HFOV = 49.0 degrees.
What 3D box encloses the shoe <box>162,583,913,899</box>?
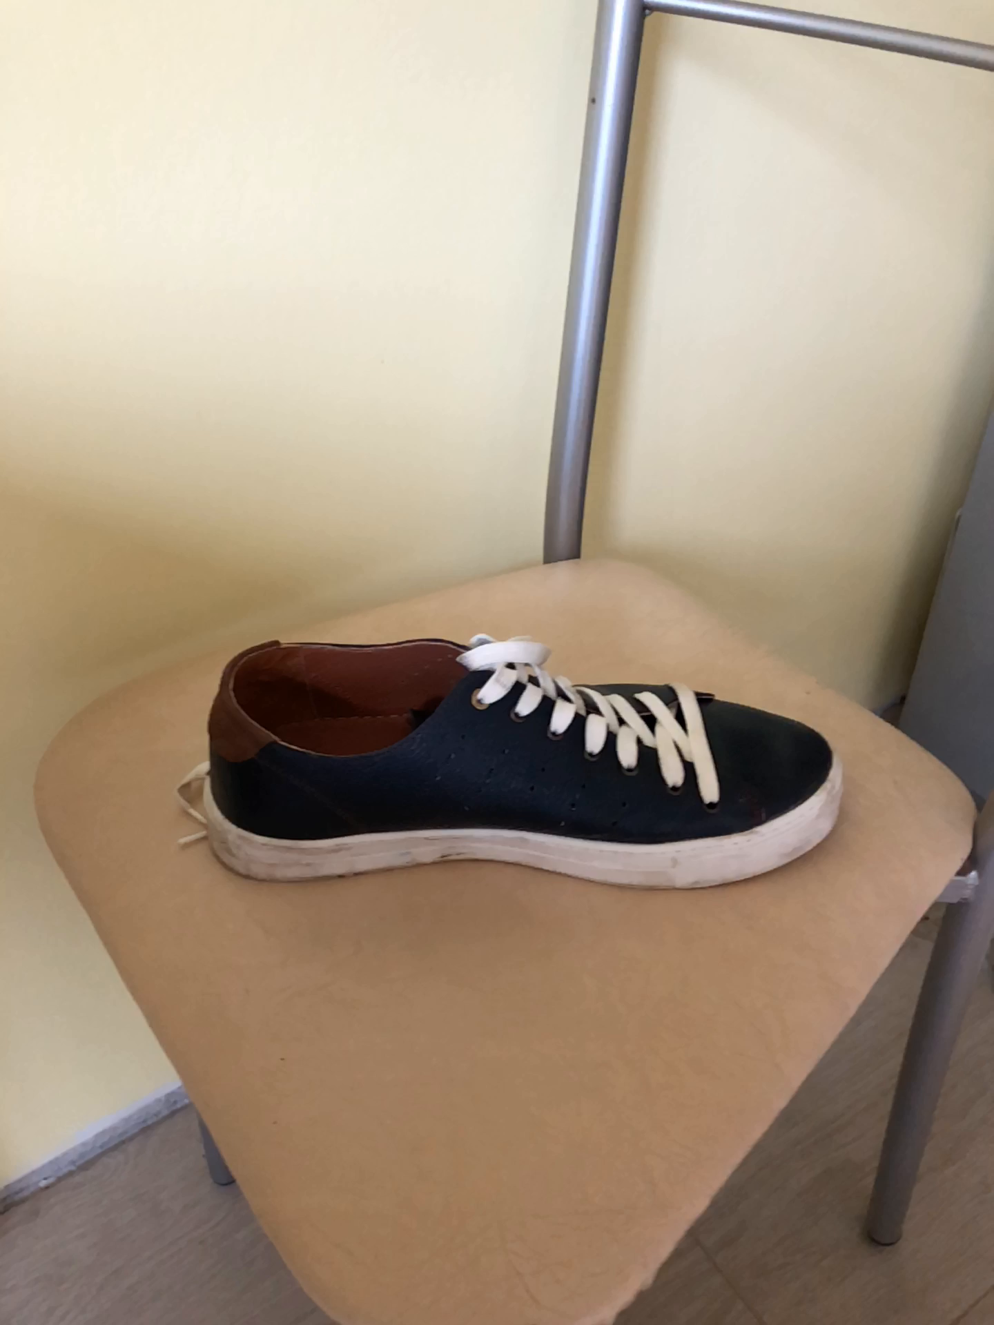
[{"bbox_3d":[0.016,0.034,0.492,0.290,0.089,0.111,0,39,0],"label":"shoe"}]
